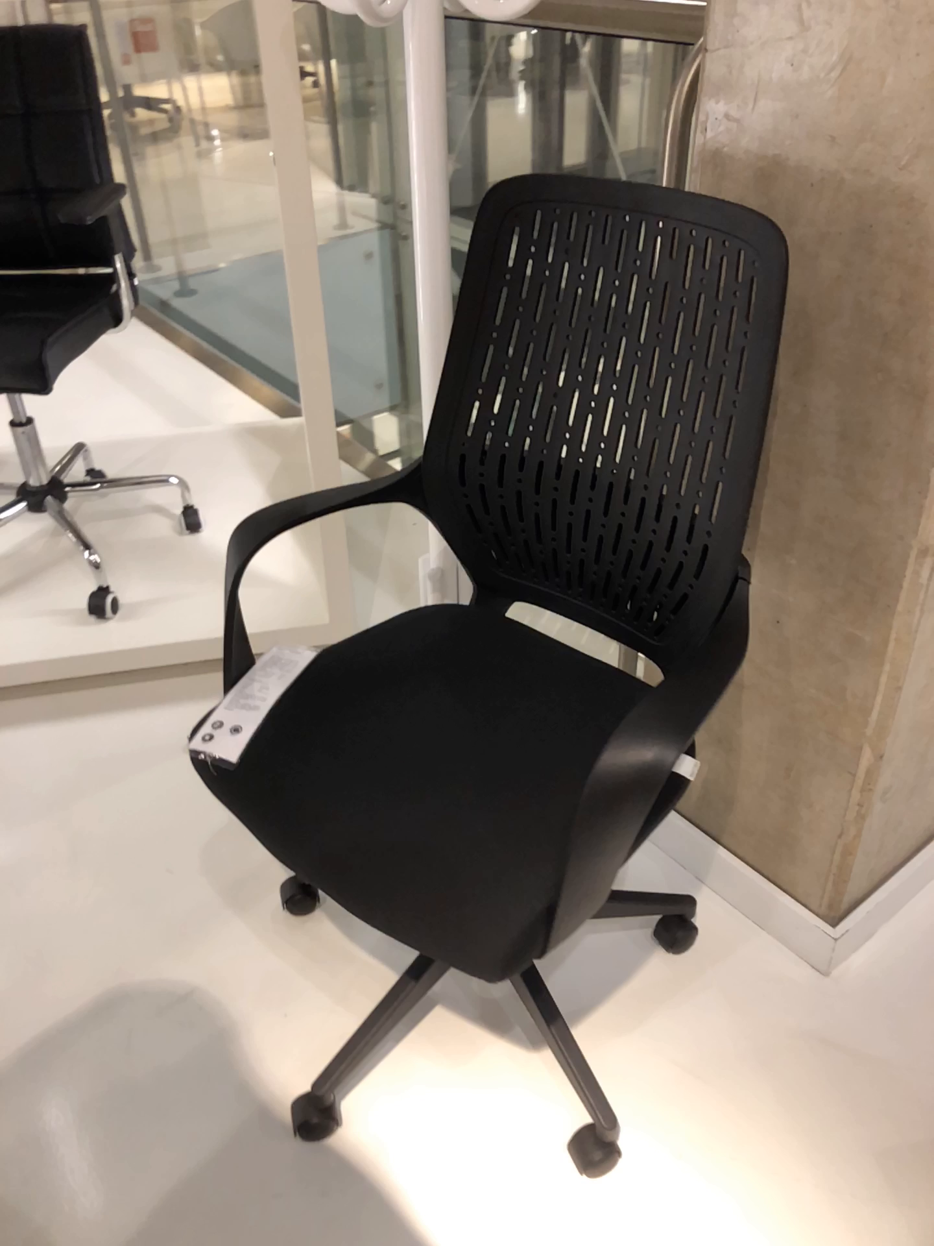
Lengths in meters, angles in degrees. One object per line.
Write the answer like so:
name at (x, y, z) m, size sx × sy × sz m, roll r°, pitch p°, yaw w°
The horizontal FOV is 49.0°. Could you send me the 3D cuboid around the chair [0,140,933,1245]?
chair at (-0.009, 0.089, 1.198) m, size 0.642 × 1.022 × 0.703 m, roll 28°, pitch 45°, yaw 35°
